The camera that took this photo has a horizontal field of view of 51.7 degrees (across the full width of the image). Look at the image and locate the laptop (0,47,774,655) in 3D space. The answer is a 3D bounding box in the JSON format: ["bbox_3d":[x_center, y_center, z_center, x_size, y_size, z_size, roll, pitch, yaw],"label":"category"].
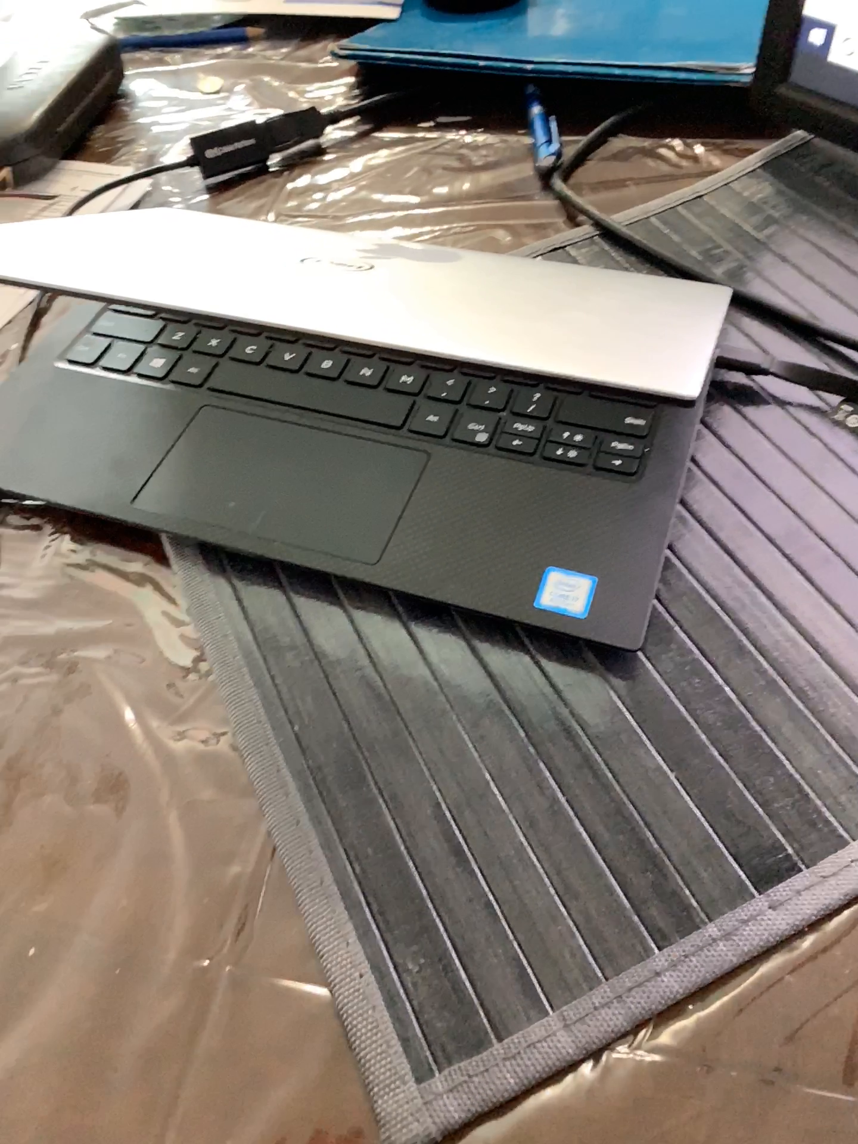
[{"bbox_3d":[-0.040,-0.105,0.338,0.290,0.085,0.185,14,55,16],"label":"laptop"}]
